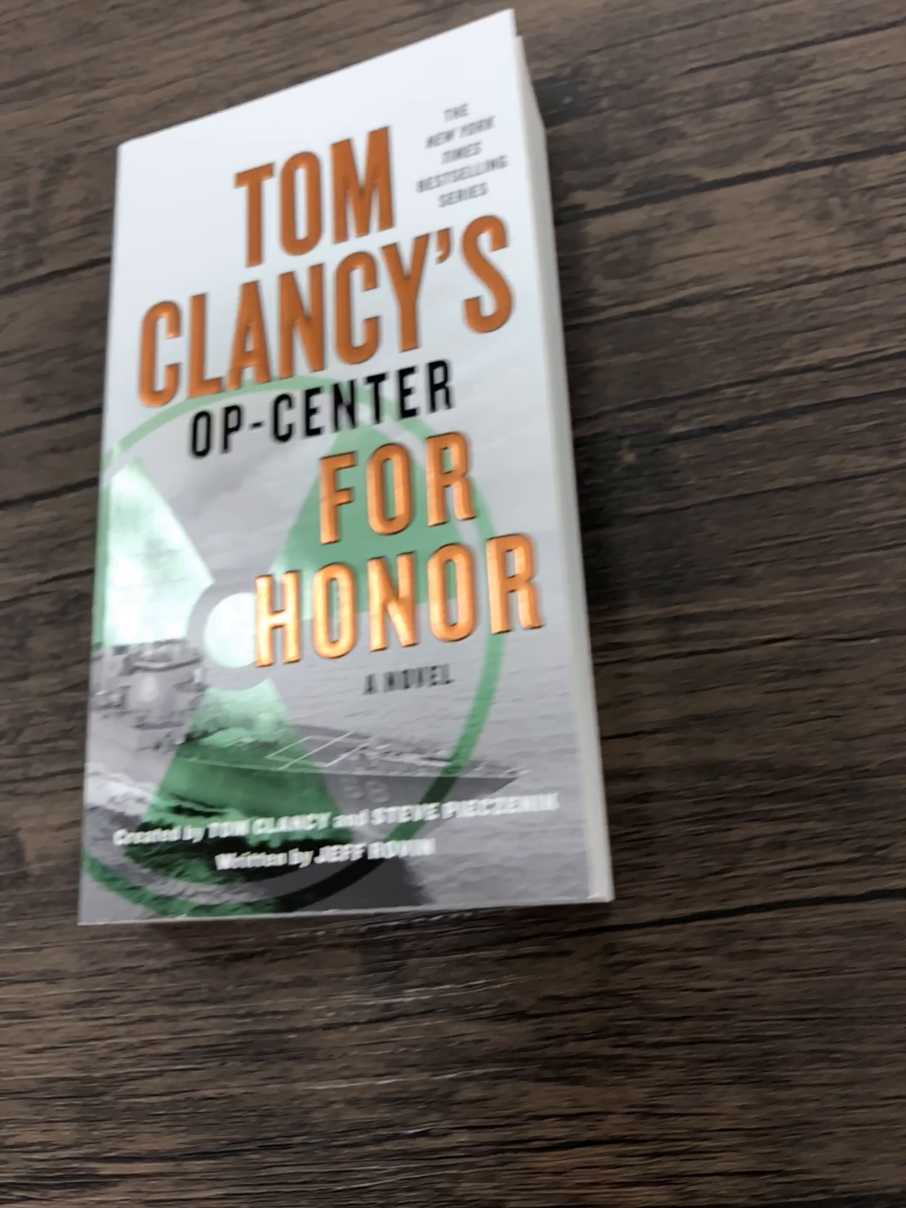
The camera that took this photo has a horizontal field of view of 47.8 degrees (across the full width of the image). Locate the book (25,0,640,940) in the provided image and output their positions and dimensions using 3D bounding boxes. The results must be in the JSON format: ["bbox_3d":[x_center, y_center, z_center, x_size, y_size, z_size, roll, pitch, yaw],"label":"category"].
[{"bbox_3d":[-0.029,-0.029,0.228,0.113,0.040,0.190,-9,72,16],"label":"book"}]
